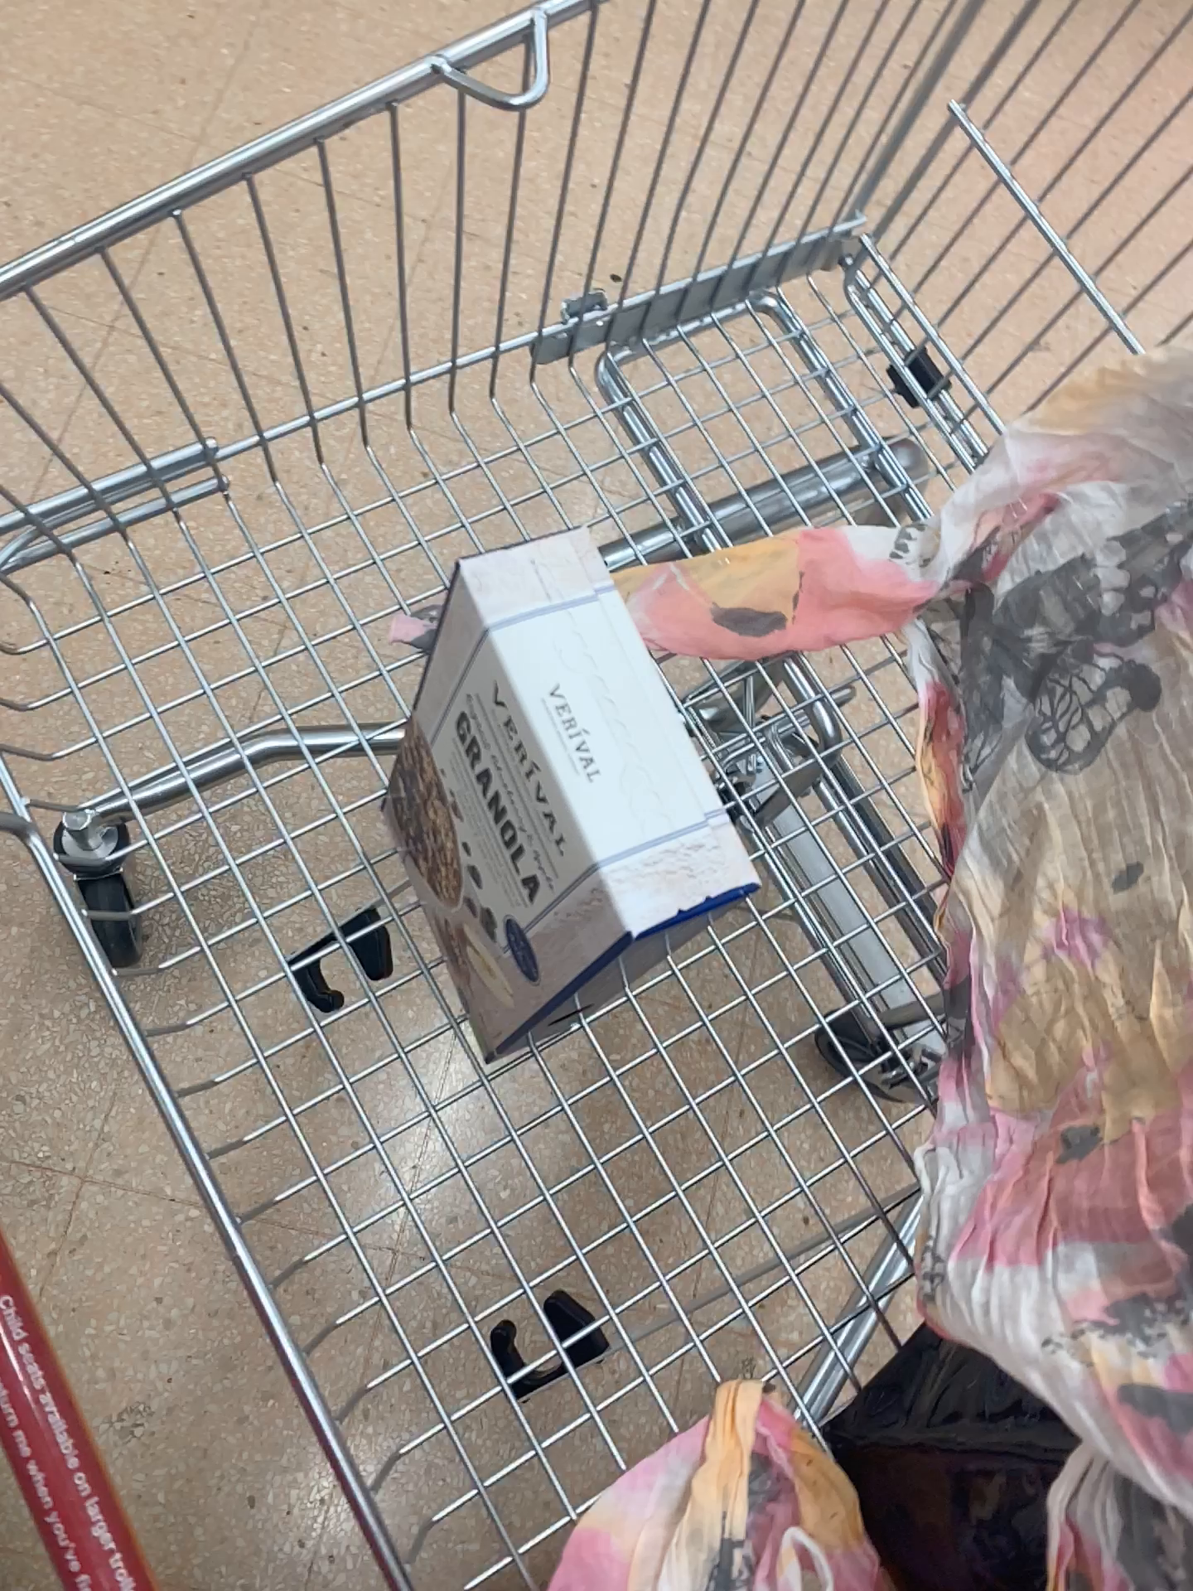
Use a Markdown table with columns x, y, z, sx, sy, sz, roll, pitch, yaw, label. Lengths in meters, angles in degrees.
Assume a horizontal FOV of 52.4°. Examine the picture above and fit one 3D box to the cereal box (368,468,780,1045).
| x | y | z | sx | sy | sz | roll | pitch | yaw | label |
| --- | --- | --- | --- | --- | --- | --- | --- | --- | --- |
| -0.027 | 0.004 | 0.467 | 0.050 | 0.229 | 0.140 | -20 | 77 | -22 | cereal box |
